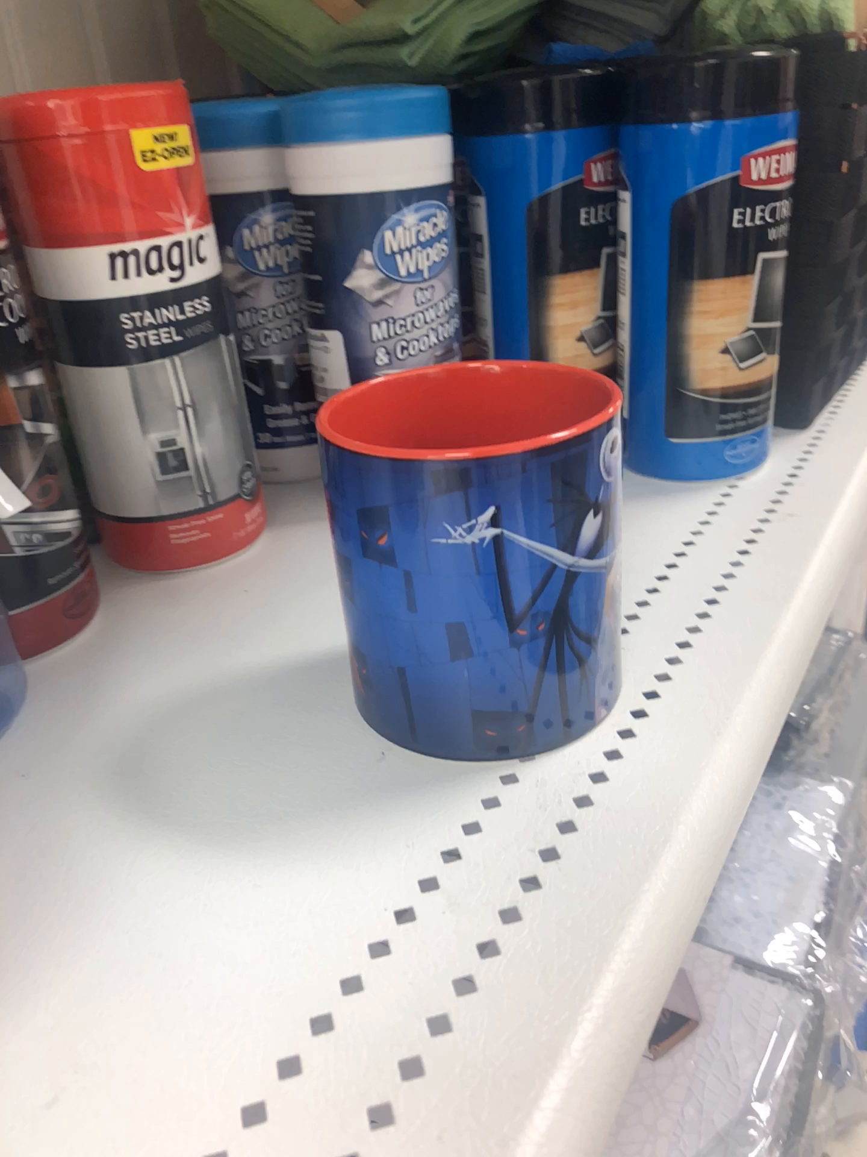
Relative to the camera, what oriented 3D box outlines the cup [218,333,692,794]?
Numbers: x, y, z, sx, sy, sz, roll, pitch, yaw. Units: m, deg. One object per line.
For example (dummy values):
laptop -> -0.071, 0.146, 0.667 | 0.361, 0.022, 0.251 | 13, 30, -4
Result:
cup -> 0.021, -0.020, 0.351 | 0.113, 0.103, 0.148 | 7, 29, 24
